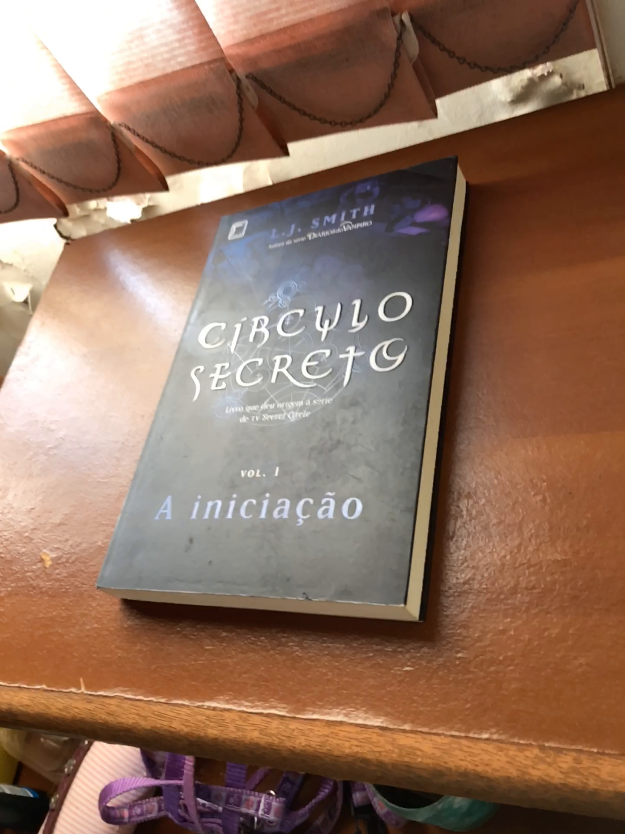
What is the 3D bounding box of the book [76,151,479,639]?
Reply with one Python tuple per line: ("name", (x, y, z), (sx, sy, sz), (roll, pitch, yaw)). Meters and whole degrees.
("book", (-0.007, -0.019, 0.304), (0.140, 0.024, 0.214), (-5, 56, 27))
